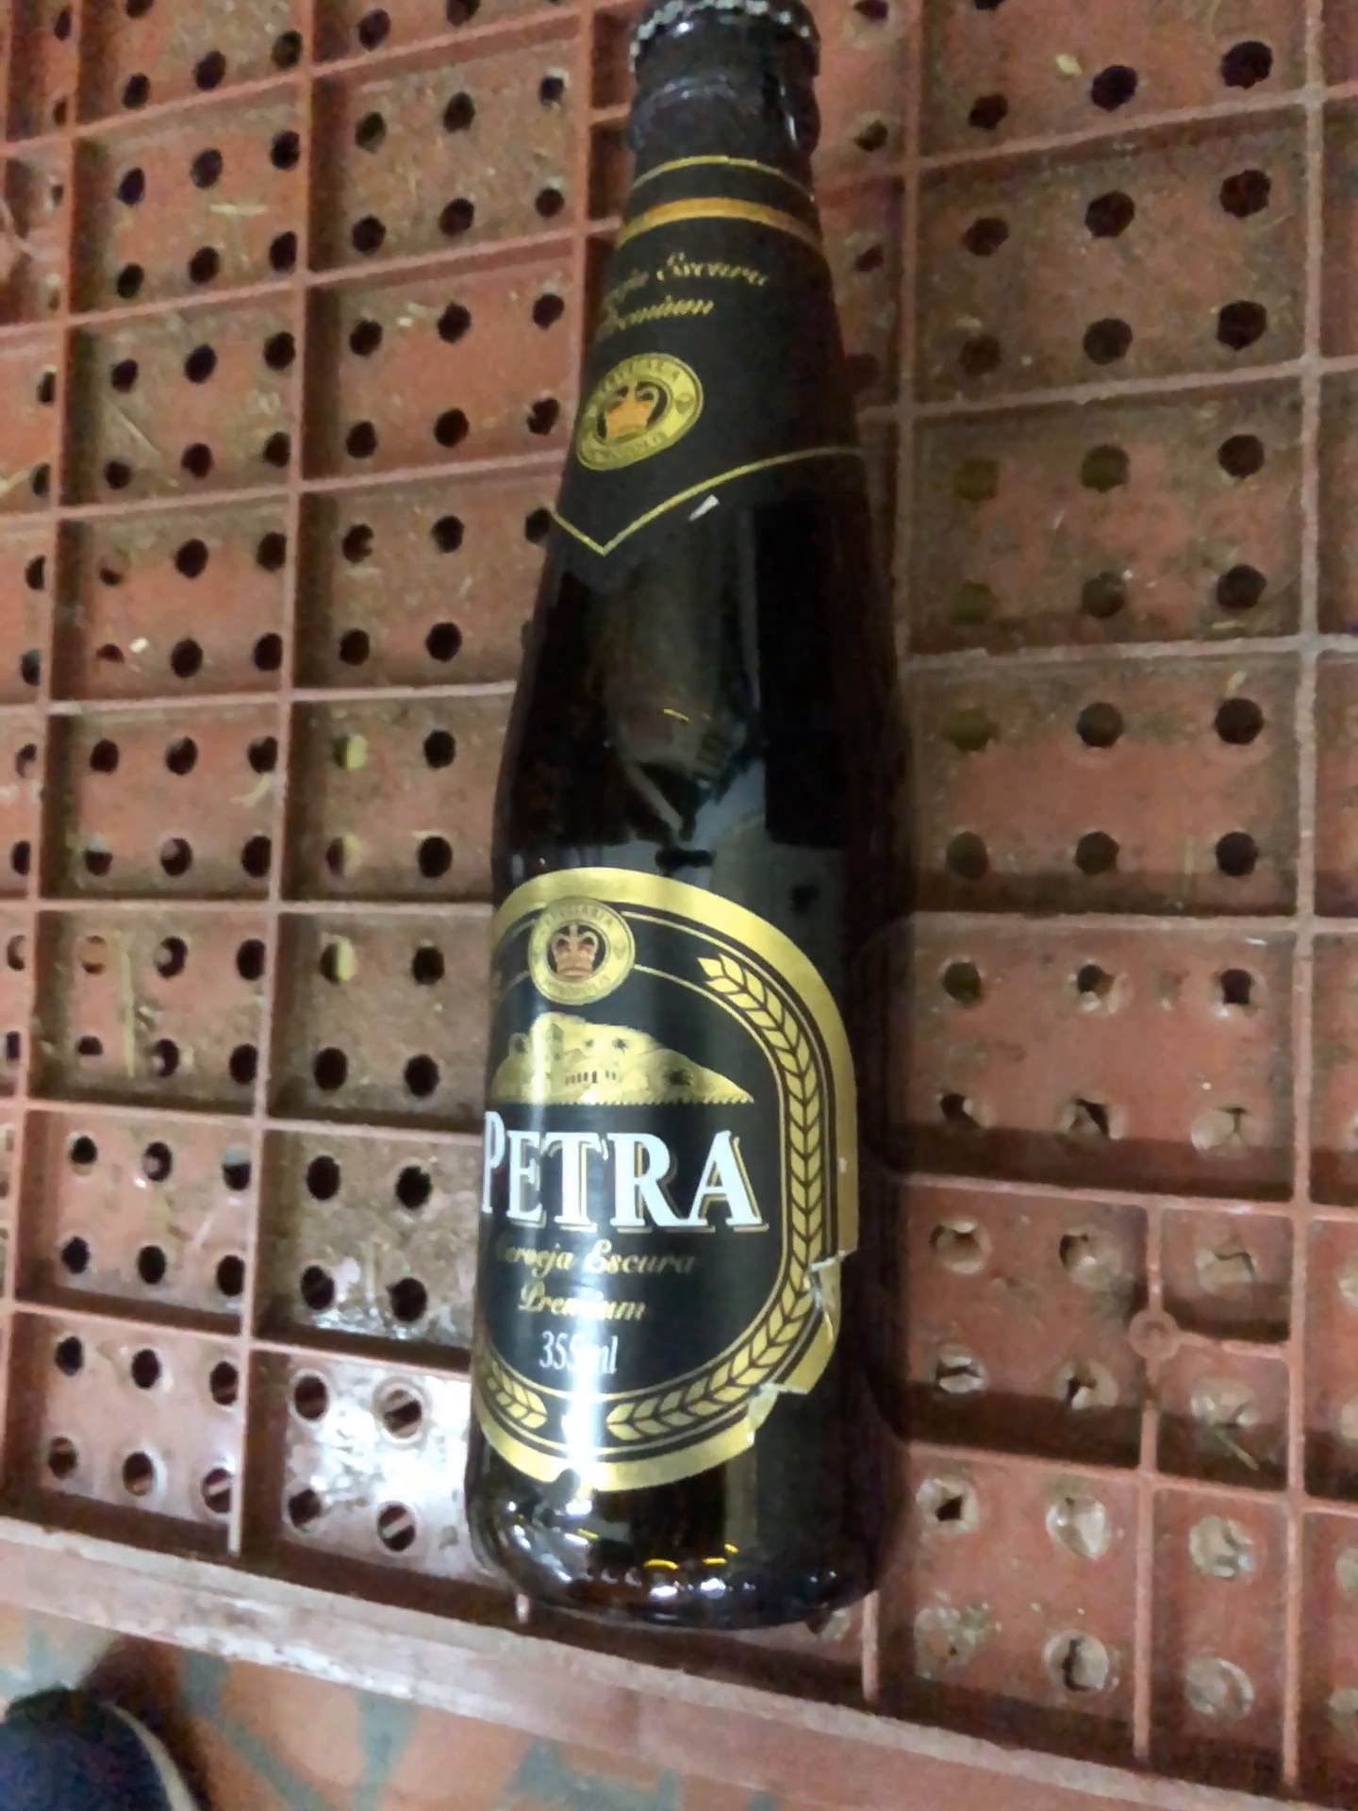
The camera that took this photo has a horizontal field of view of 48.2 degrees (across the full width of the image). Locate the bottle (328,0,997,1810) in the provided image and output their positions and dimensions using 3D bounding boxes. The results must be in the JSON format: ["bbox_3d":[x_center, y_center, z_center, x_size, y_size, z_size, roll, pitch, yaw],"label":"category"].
[{"bbox_3d":[0.003,-0.024,0.211,0.070,0.060,0.250,-1,84,22],"label":"bottle"}]
